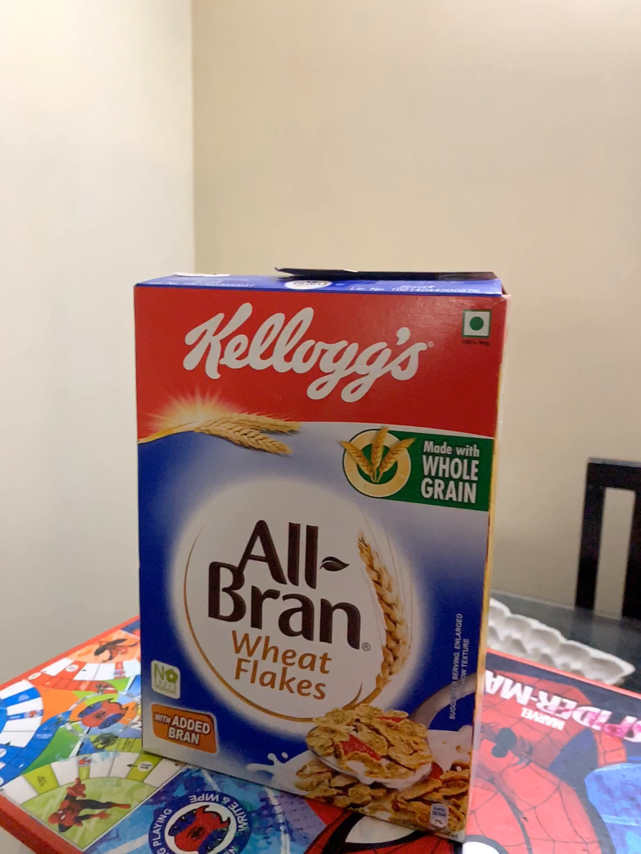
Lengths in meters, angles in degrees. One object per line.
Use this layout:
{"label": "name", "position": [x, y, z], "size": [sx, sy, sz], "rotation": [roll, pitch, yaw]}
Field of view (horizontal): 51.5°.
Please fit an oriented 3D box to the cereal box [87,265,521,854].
{"label": "cereal box", "position": [-0.011, 0.050, 0.327], "size": [0.190, 0.249, 0.060], "rotation": [5, 11, 19]}
